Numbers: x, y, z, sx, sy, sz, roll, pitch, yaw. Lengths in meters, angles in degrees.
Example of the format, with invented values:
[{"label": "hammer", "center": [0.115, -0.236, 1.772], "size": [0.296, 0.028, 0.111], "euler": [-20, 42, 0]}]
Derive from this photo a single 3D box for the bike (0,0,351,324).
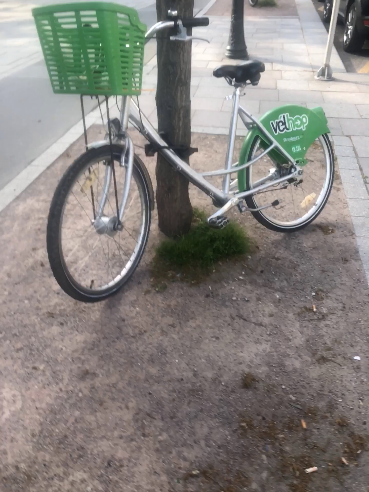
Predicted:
[{"label": "bike", "center": [0.102, -0.513, 1.906], "size": [1.726, 1.114, 0.312], "euler": [-26, 42, -33]}]
